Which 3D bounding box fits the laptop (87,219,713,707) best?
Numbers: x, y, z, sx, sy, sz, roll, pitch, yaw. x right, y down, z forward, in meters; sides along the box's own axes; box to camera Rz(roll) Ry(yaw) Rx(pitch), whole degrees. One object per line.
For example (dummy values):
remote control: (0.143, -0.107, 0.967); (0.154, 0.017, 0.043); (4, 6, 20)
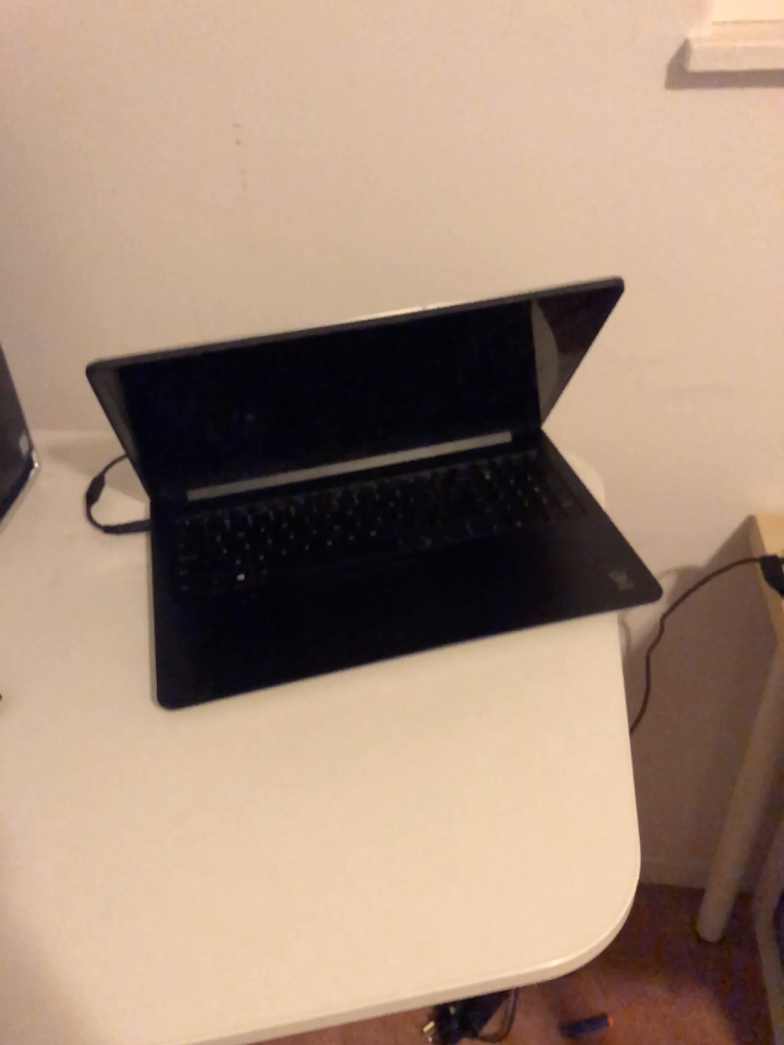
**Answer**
laptop: (-0.011, -0.062, 0.662); (0.373, 0.207, 0.252); (-11, 38, -8)
